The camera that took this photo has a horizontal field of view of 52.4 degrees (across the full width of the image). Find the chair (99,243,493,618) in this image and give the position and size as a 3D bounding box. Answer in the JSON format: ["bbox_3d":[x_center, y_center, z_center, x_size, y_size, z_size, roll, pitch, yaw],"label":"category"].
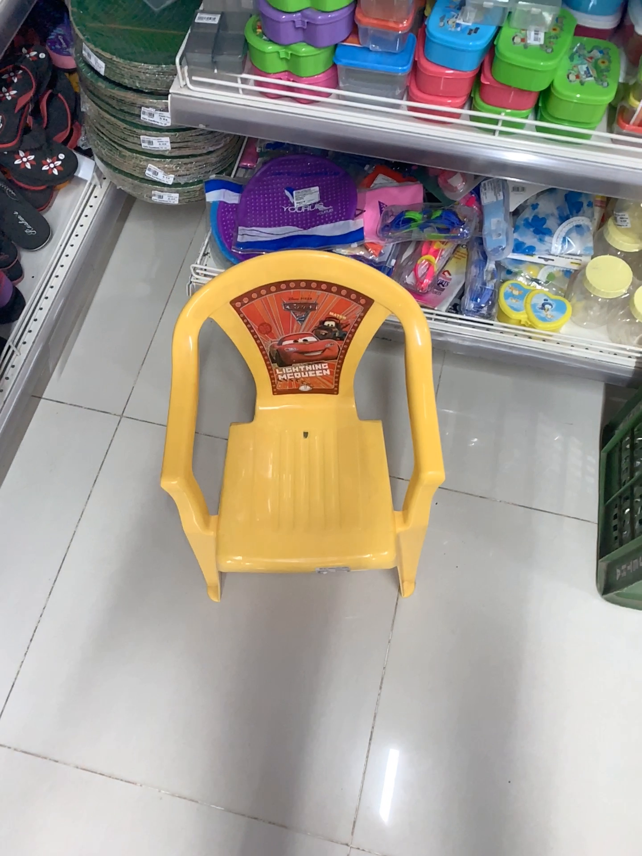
[{"bbox_3d":[-0.024,0.049,0.949,0.390,0.500,0.370,-1,66,1],"label":"chair"}]
